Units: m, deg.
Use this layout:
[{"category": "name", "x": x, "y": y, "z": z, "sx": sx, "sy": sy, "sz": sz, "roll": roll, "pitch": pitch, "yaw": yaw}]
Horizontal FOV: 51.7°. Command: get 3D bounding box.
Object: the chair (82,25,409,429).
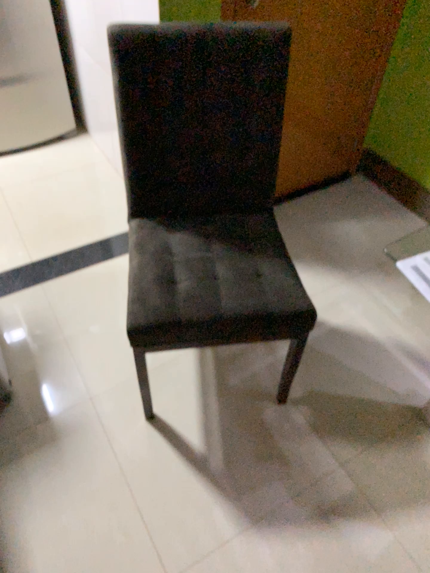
[{"category": "chair", "x": 0.006, "y": -0.111, "z": 1.269, "sx": 0.540, "sy": 0.971, "sz": 0.575, "roll": -4, "pitch": 48, "yaw": -7}]
